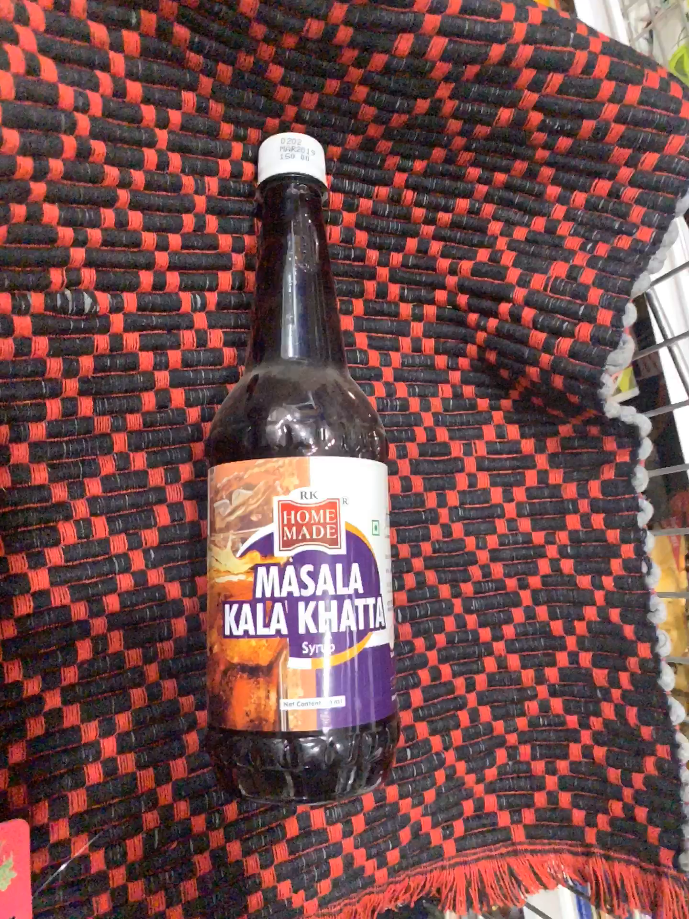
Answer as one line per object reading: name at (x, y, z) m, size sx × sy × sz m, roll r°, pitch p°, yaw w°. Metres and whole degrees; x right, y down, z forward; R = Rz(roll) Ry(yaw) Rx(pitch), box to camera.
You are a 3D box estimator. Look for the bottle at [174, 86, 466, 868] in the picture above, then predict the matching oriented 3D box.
bottle at (-0.019, 0.001, 0.284) m, size 0.080 × 0.080 × 0.260 m, roll 1°, pitch 79°, yaw -22°
